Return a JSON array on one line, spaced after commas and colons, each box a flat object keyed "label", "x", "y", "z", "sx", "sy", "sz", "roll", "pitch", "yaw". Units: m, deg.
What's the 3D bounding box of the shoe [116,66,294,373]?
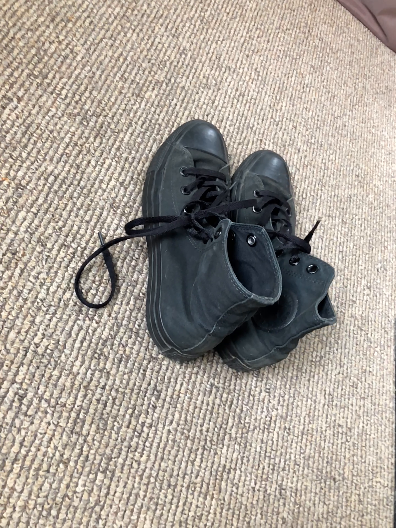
[{"label": "shoe", "x": 0.007, "y": -0.034, "z": 0.402, "sx": 0.089, "sy": 0.126, "sz": 0.236, "roll": 18, "pitch": 61, "yaw": -27}]

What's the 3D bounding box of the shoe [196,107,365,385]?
[{"label": "shoe", "x": 0.081, "y": -0.014, "z": 0.452, "sx": 0.089, "sy": 0.126, "sz": 0.244, "roll": 21, "pitch": 59, "yaw": -26}]
